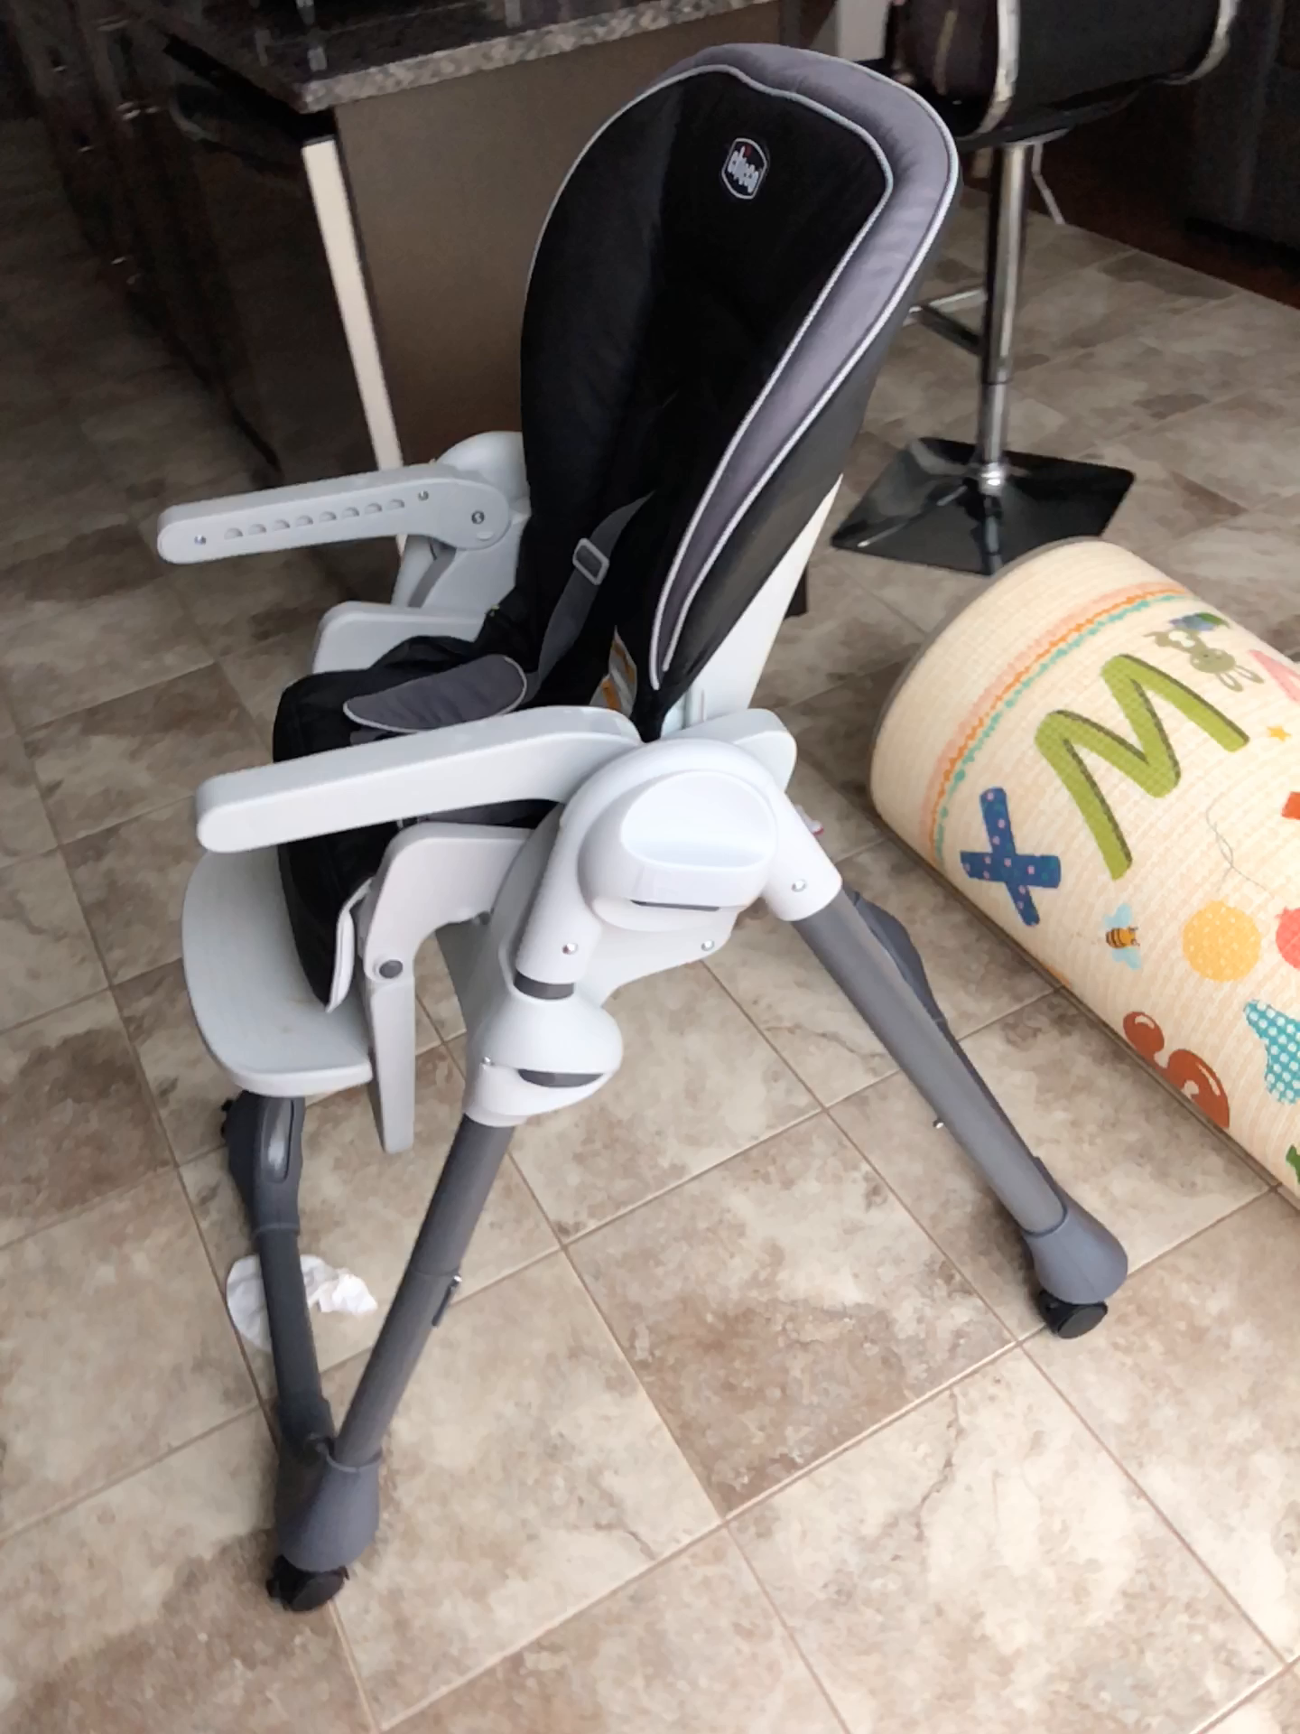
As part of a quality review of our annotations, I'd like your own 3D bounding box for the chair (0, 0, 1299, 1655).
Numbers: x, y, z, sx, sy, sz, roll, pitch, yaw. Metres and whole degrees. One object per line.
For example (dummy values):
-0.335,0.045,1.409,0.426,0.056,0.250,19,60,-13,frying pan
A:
-0.071,-0.030,1.179,0.880,0.996,0.653,-16,43,-10,chair
